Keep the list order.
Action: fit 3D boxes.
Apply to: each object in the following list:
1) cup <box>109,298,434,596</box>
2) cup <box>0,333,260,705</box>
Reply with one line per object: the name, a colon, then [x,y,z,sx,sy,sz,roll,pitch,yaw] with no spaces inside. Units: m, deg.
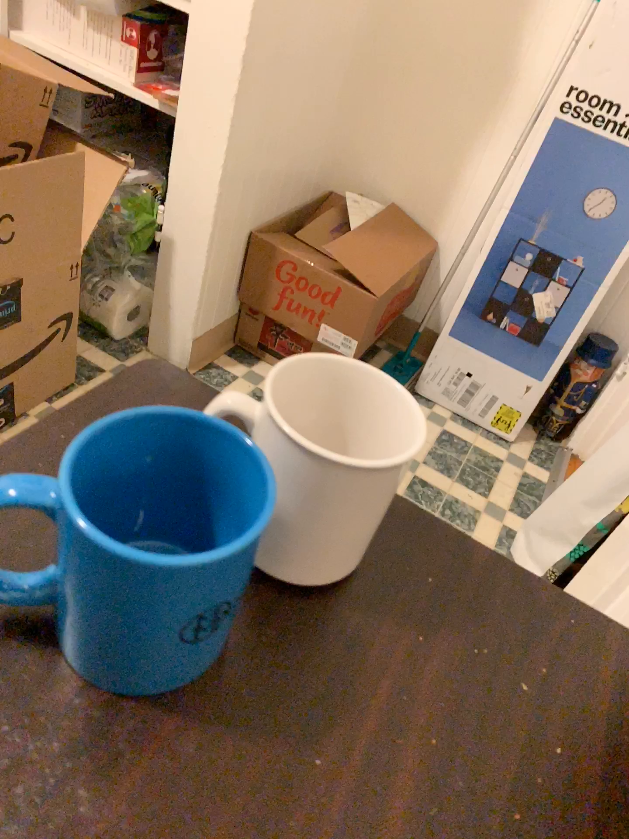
cup: [-0.027,0.017,0.329,0.130,0.099,0.090,10,39,-13]
cup: [-0.102,0.044,0.257,0.140,0.099,0.090,9,39,-14]
